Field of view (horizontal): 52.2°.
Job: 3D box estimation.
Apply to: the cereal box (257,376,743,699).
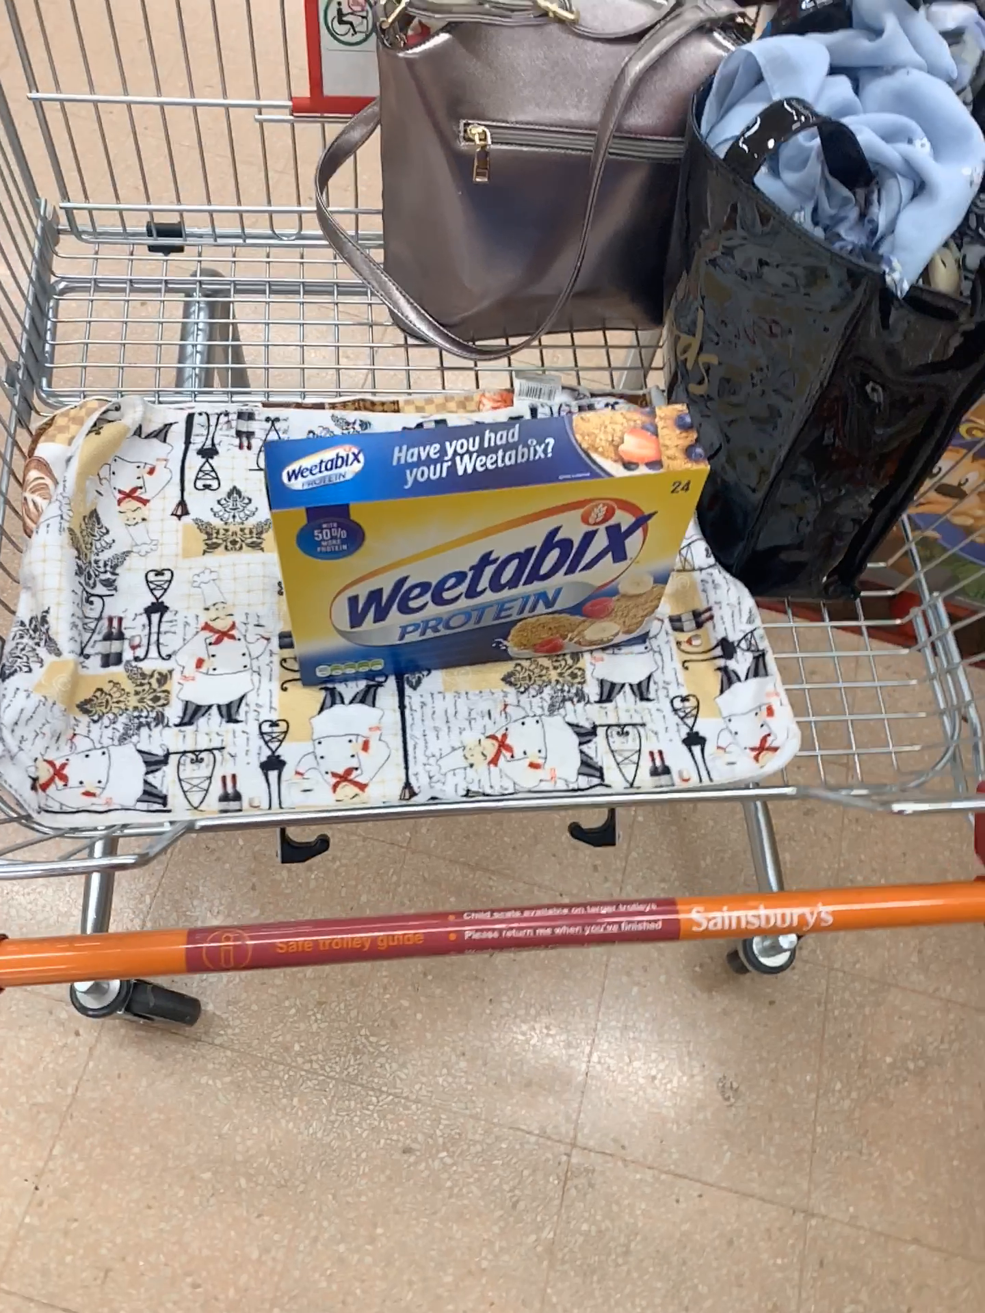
[{"bbox_3d":[-0.002,-0.068,0.633,0.260,0.199,0.060,-8,58,-11],"label":"cereal box"}]
